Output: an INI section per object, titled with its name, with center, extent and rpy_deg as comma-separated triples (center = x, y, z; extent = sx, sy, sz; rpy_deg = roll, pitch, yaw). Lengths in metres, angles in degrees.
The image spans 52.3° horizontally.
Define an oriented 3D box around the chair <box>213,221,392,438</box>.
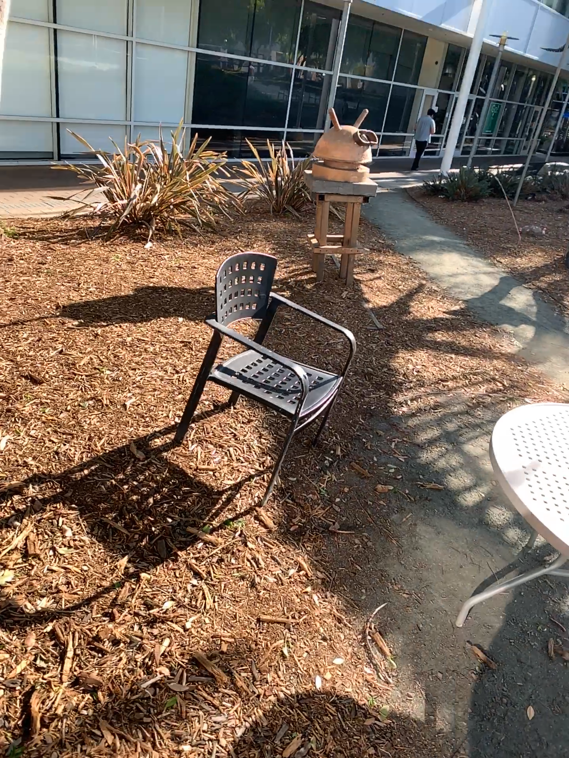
[chair]
center = 0.073, -0.242, 2.555
extent = 0.501, 0.716, 0.522
rpy_deg = 21, 30, 22
